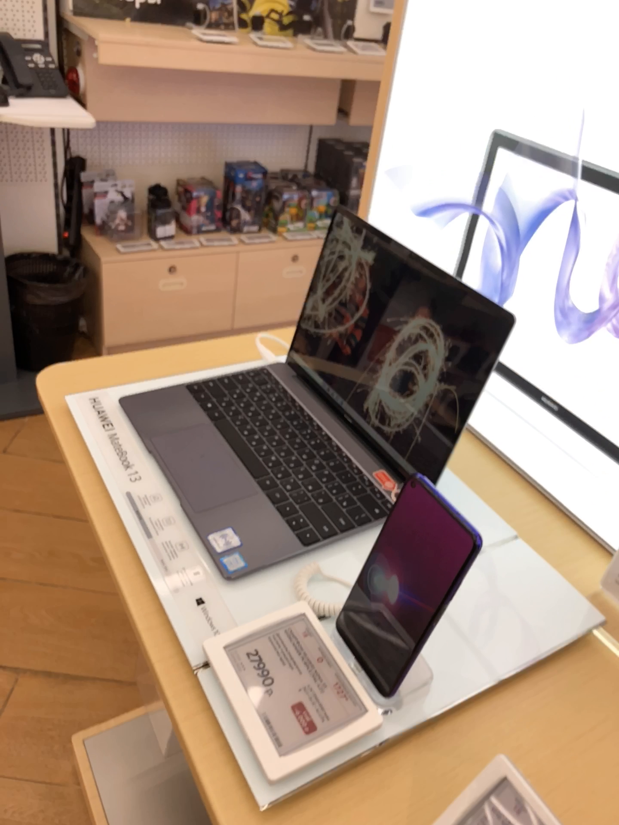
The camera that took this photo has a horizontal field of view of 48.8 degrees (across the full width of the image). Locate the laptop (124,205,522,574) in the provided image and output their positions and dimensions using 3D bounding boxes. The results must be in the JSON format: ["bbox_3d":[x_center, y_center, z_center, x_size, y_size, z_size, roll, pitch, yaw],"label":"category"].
[{"bbox_3d":[-0.012,-0.047,0.660,0.244,0.192,0.275,-14,40,-28],"label":"laptop"}]
